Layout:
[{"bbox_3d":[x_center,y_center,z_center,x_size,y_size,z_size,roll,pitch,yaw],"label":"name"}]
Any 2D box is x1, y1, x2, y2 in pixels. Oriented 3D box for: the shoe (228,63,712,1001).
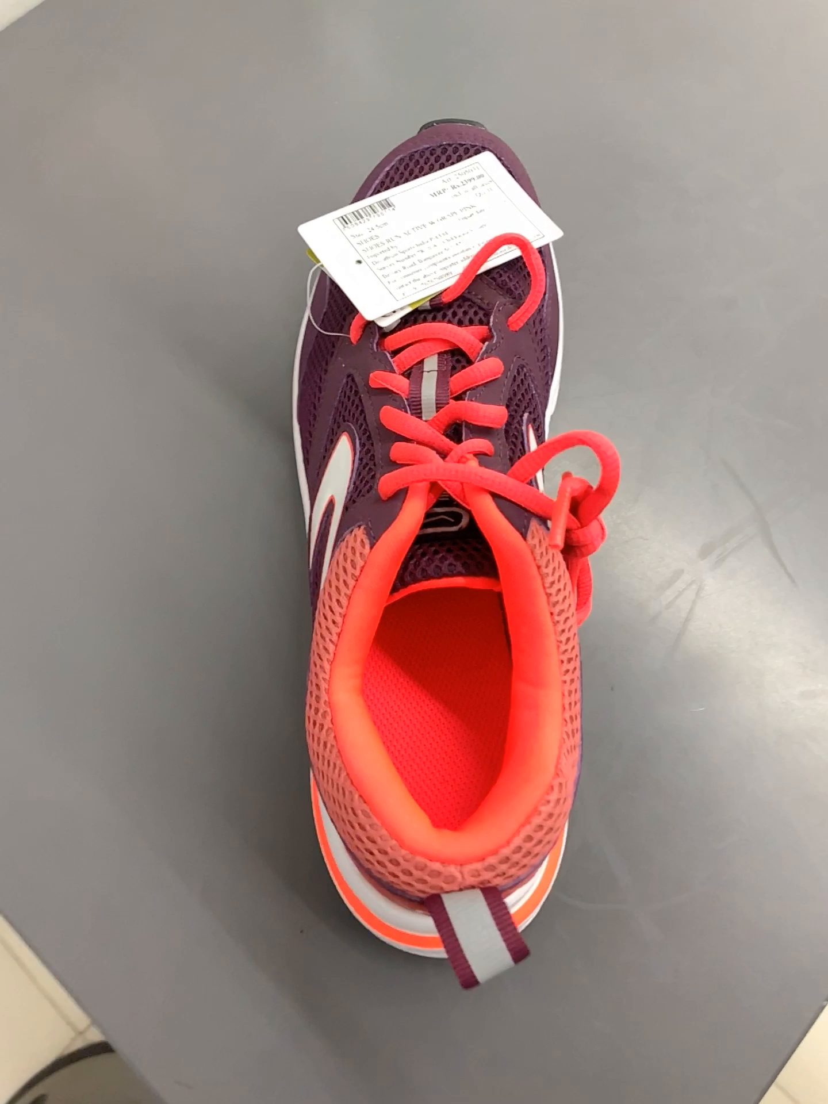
[{"bbox_3d":[0.010,-0.015,0.289,0.110,0.100,0.280,-2,70,0],"label":"shoe"}]
